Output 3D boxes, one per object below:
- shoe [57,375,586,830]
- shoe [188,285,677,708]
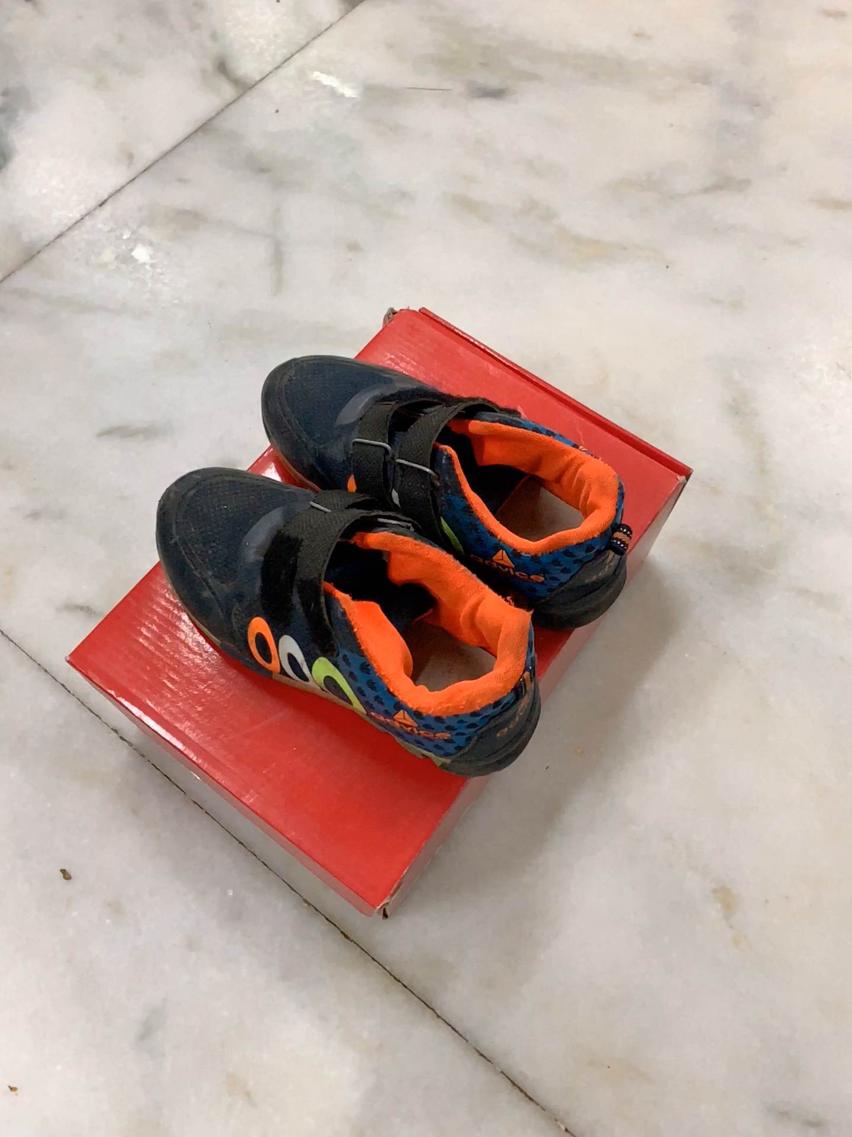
[{"bbox_3d":[-0.046,0.014,0.392,0.210,0.080,0.080,33,68,14],"label":"shoe"},{"bbox_3d":[0.000,-0.037,0.442,0.210,0.090,0.090,32,68,14],"label":"shoe"}]
